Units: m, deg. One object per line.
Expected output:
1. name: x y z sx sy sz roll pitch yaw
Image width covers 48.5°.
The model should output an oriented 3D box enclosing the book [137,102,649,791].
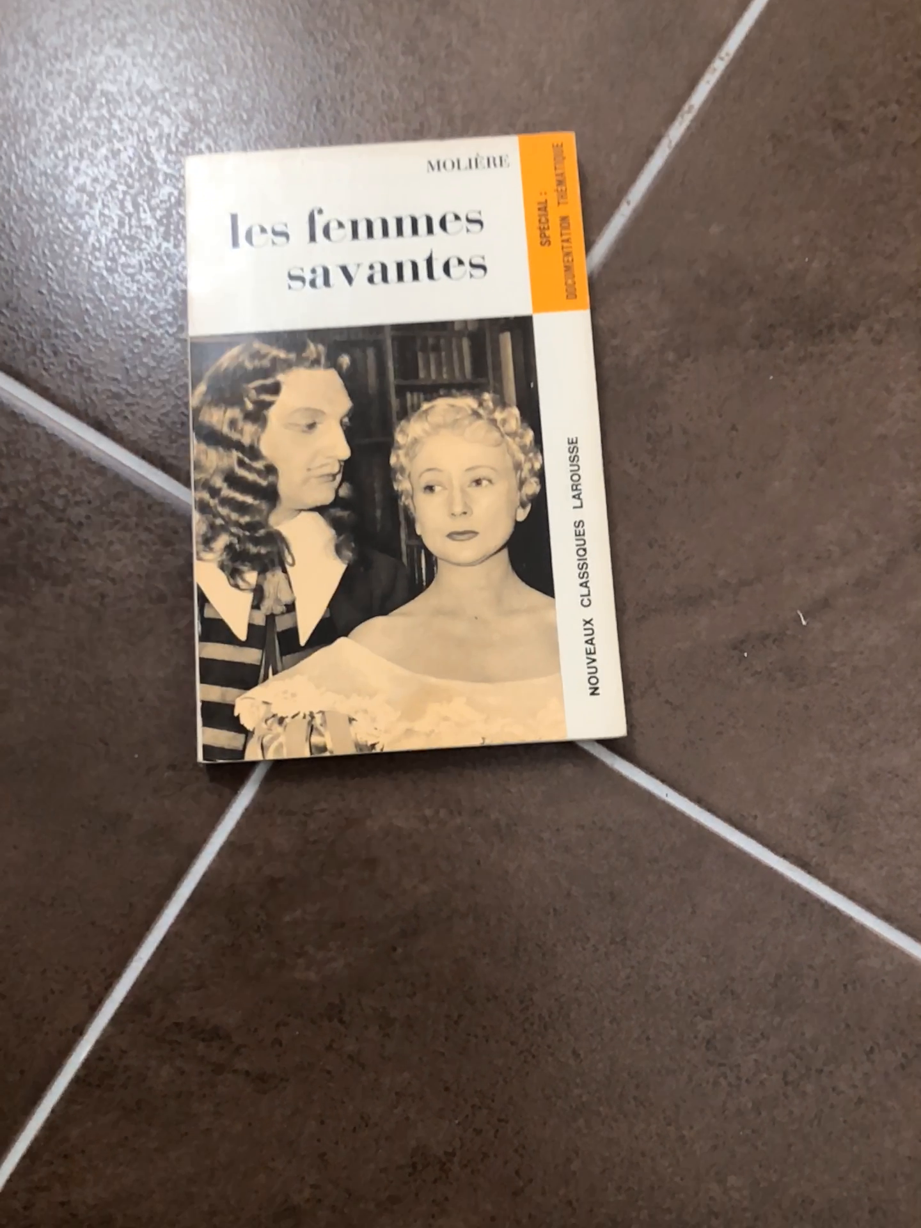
1. book: -0.019 -0.044 0.268 0.120 0.020 0.170 -3 85 -1
